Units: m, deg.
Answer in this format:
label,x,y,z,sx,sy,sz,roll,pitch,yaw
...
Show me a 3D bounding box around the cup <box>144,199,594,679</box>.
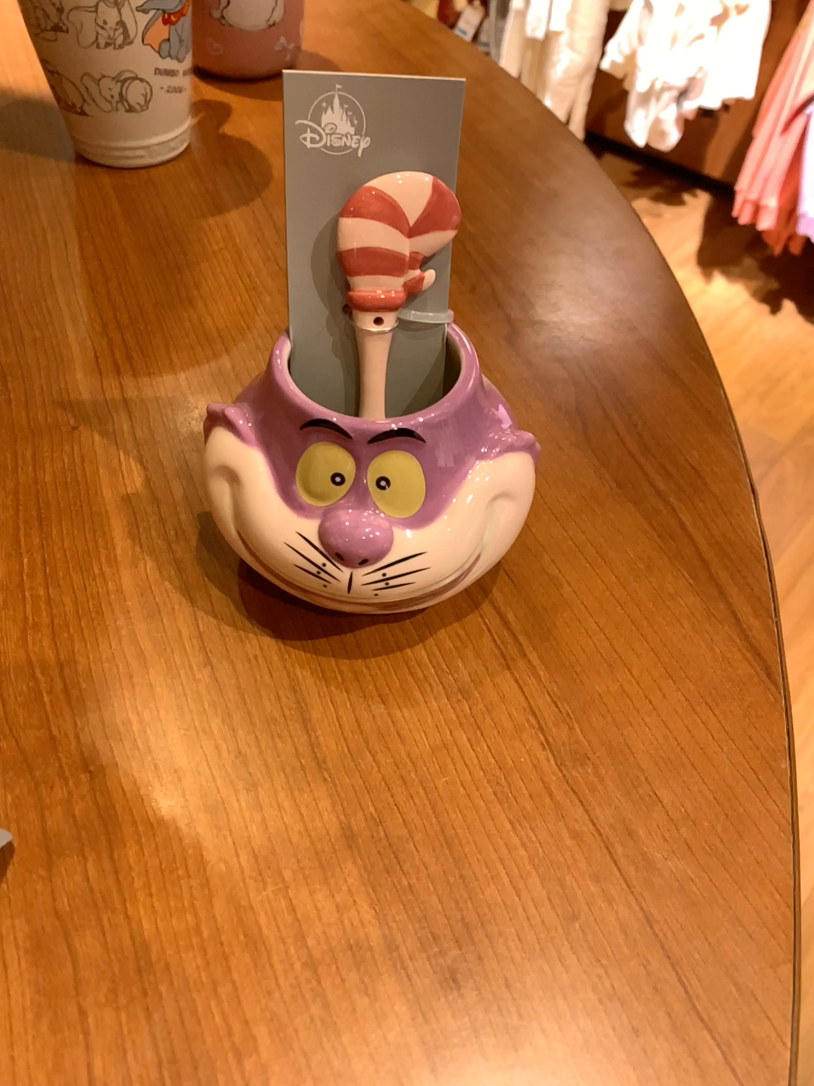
label,x,y,z,sx,sy,sz,roll,pitch,yaw
cup,-0.023,-0.044,0.294,0.114,0.077,0.143,-9,50,-11
